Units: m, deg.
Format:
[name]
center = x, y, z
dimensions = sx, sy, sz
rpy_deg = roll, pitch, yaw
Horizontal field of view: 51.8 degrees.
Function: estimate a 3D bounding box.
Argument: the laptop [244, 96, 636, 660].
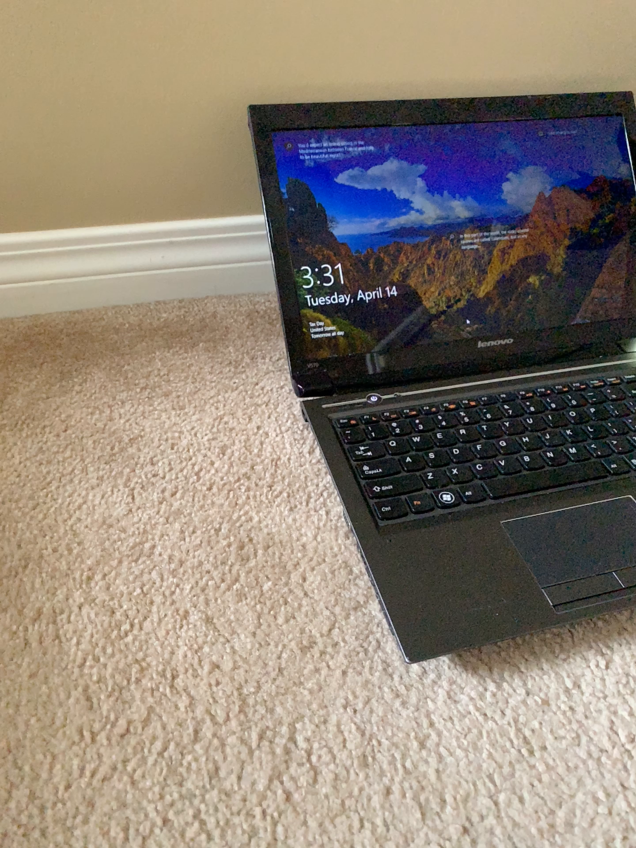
[laptop]
center = 0.173, -0.094, 0.488
dimensions = 0.372, 0.166, 0.412
rpy_deg = -9, 43, -14
